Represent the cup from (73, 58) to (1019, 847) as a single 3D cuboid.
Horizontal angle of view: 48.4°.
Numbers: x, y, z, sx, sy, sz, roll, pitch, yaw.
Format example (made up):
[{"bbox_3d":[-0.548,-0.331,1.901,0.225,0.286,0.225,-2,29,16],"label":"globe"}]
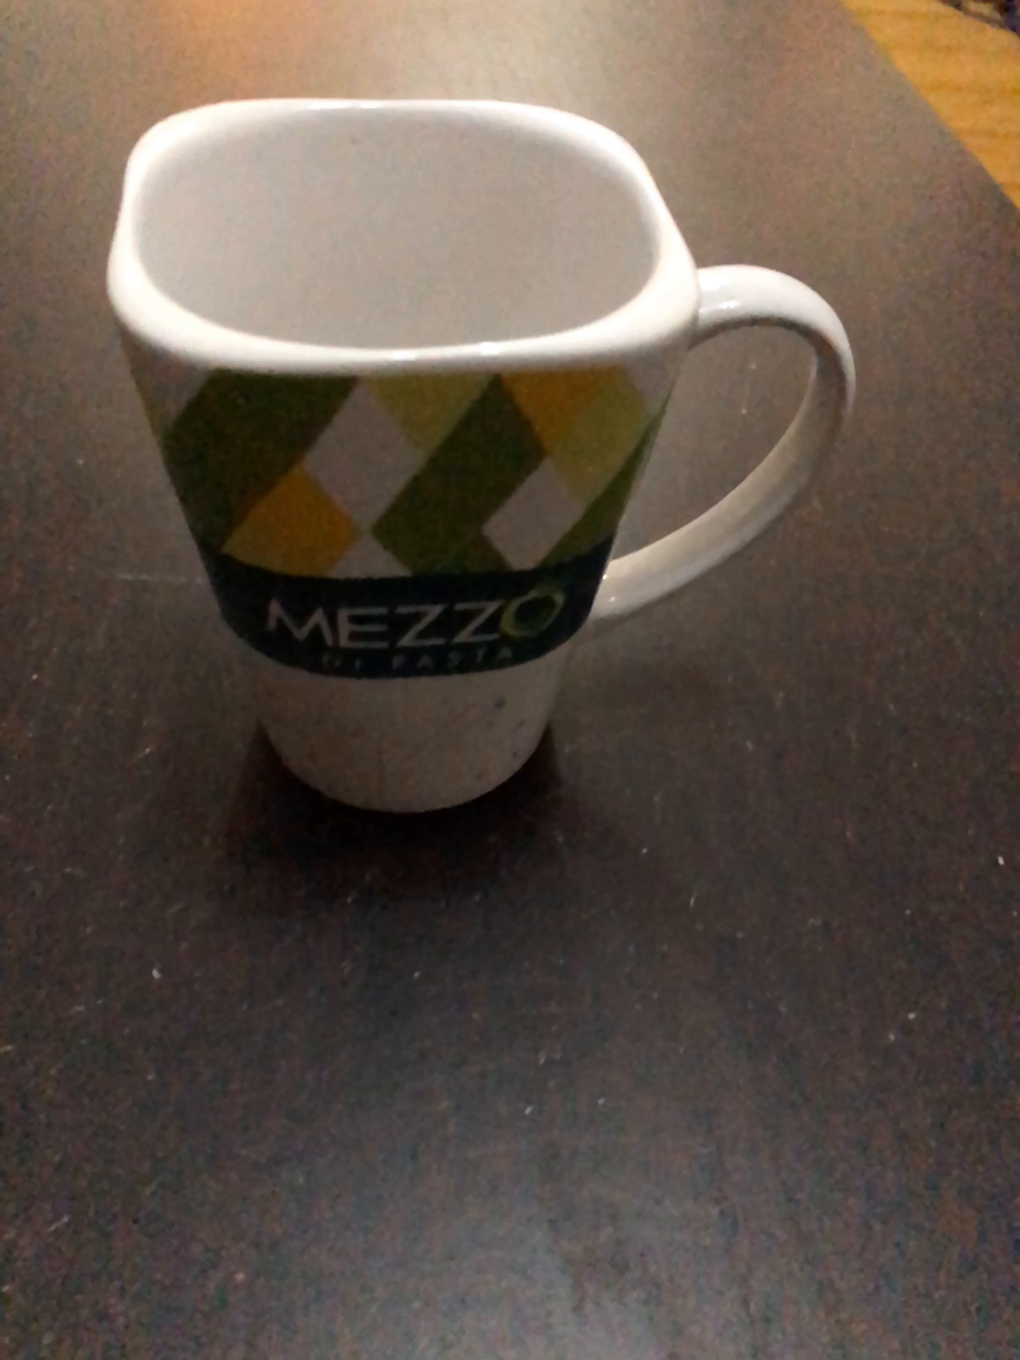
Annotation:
[{"bbox_3d":[-0.001,-0.039,0.185,0.110,0.089,0.080,-6,47,-10],"label":"cup"}]
